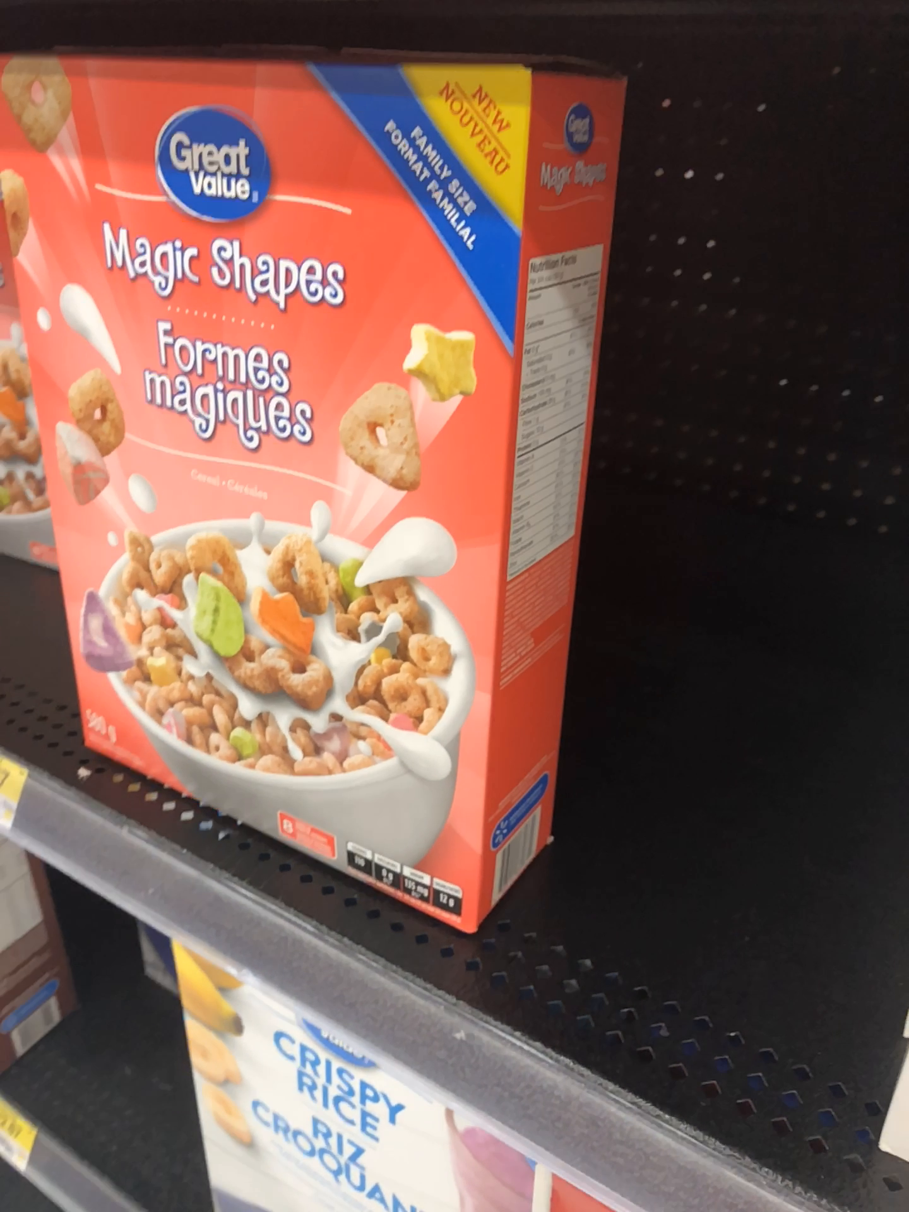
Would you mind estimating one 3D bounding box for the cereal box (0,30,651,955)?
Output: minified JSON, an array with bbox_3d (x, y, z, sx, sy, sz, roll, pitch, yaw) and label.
[{"bbox_3d":[-0.068,-0.054,0.443,0.250,0.339,0.080,18,29,28],"label":"cereal box"}]
